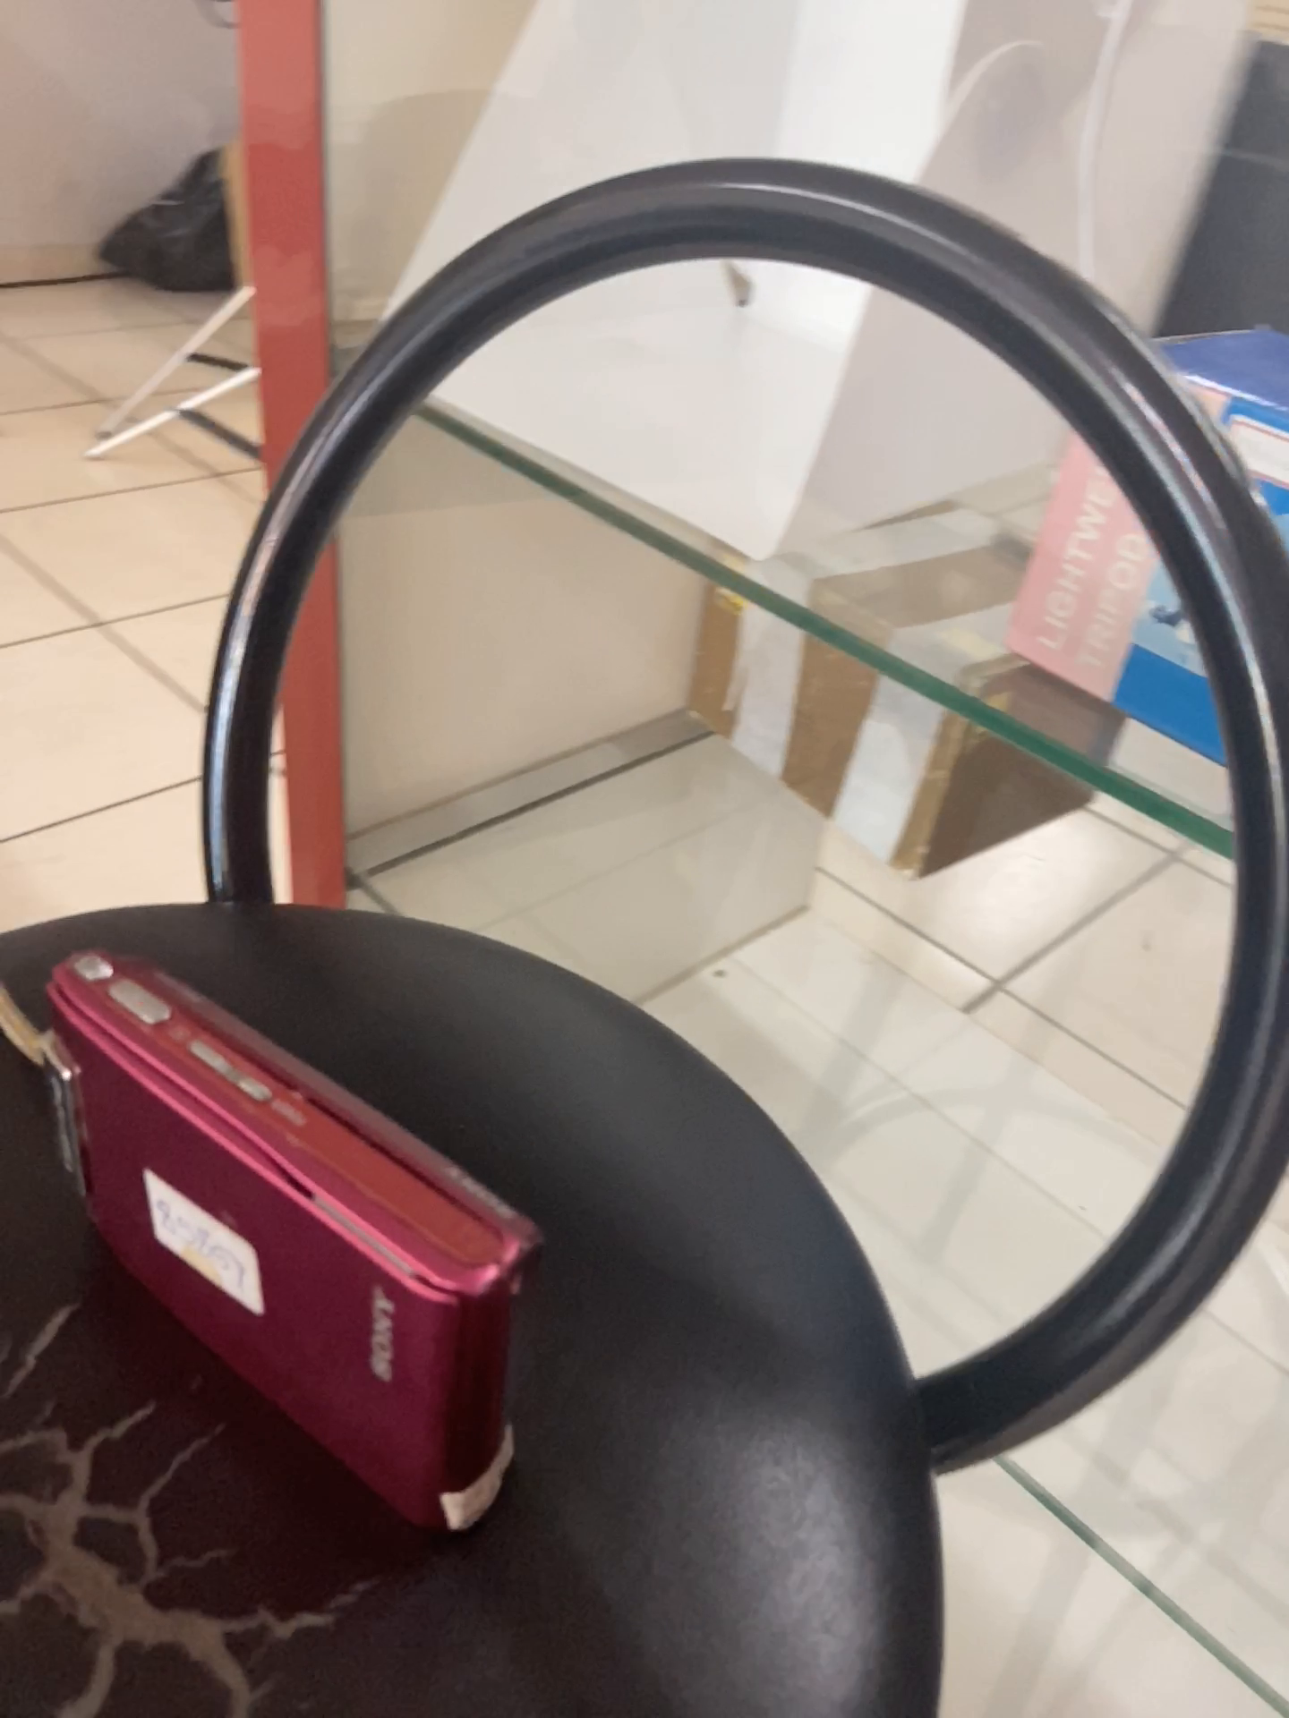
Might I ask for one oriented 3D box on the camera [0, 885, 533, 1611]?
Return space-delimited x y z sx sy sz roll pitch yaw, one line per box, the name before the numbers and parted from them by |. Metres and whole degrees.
camera | -0.067 0.056 0.204 0.100 0.060 0.030 28 39 25
